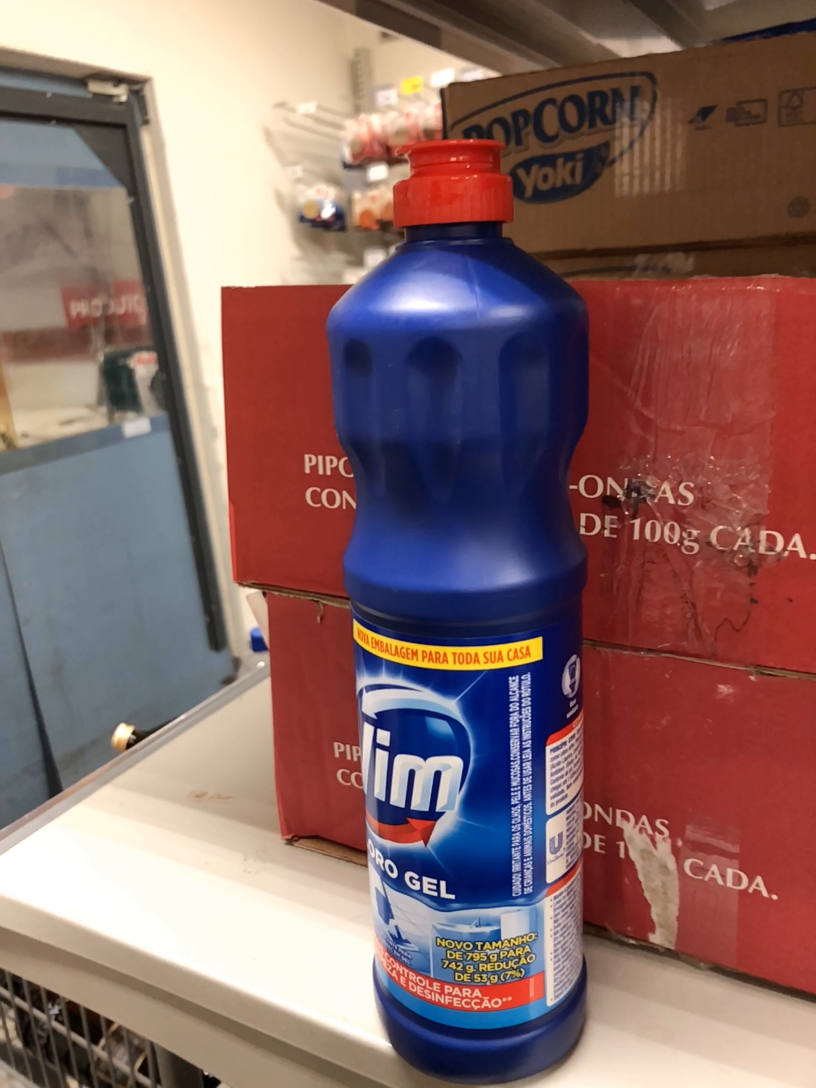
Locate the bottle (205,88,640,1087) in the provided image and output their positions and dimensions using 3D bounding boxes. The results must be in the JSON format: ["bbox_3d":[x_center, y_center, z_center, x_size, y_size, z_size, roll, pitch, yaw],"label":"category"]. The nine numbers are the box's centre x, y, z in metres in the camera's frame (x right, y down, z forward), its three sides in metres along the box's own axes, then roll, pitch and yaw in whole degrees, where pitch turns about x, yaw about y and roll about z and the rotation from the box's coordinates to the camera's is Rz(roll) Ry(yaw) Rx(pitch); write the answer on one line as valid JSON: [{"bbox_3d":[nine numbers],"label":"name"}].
[{"bbox_3d":[0.009,0.018,0.233,0.060,0.229,0.070,-18,19,-41],"label":"bottle"}]
